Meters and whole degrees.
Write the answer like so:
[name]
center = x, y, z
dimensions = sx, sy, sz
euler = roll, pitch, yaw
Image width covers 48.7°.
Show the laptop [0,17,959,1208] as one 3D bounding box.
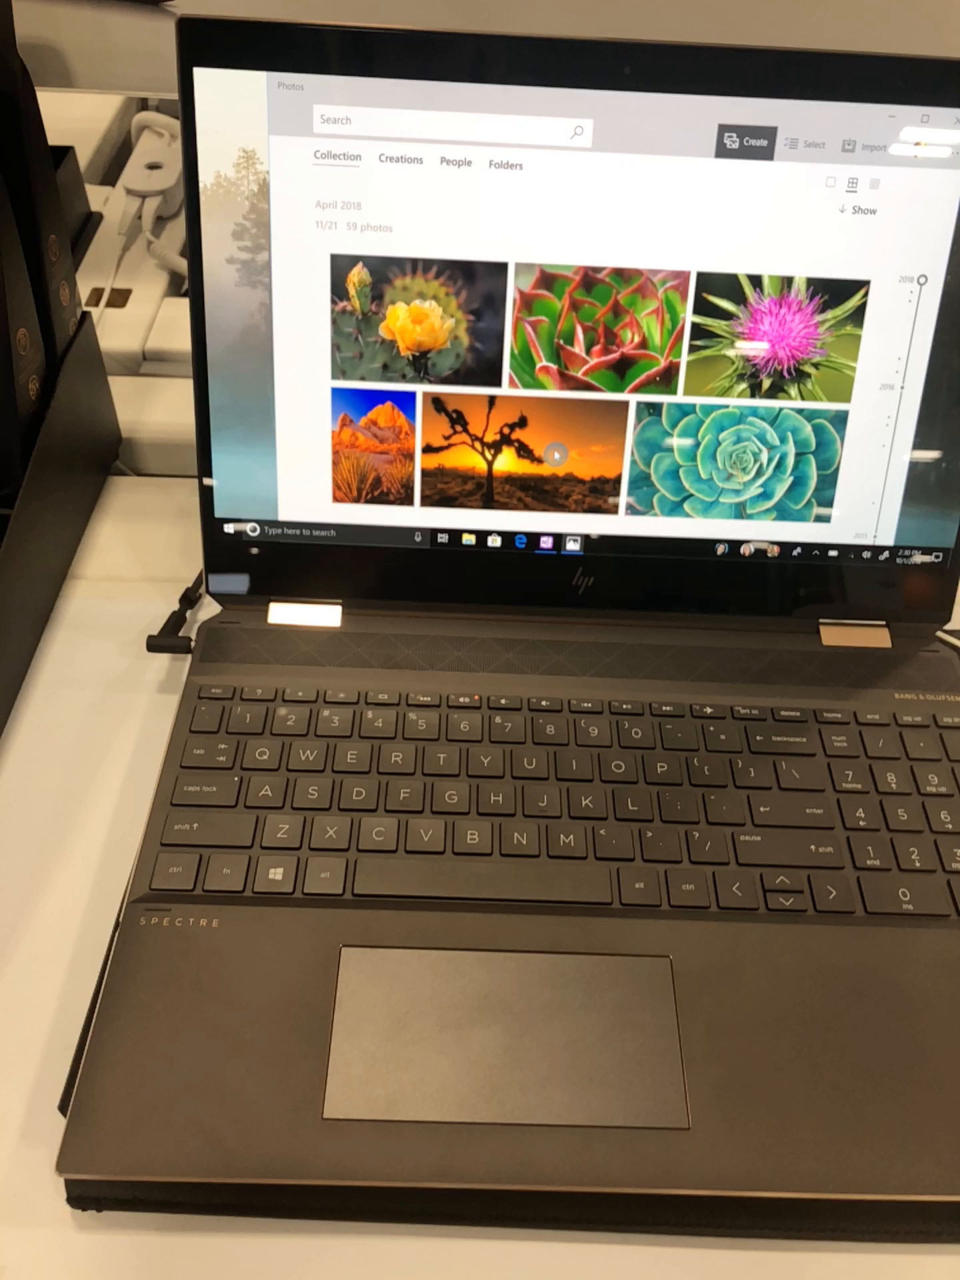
[laptop]
center = 0.051, -0.030, 0.376
dimensions = 0.348, 0.209, 0.360
euler = 2, 48, -2
